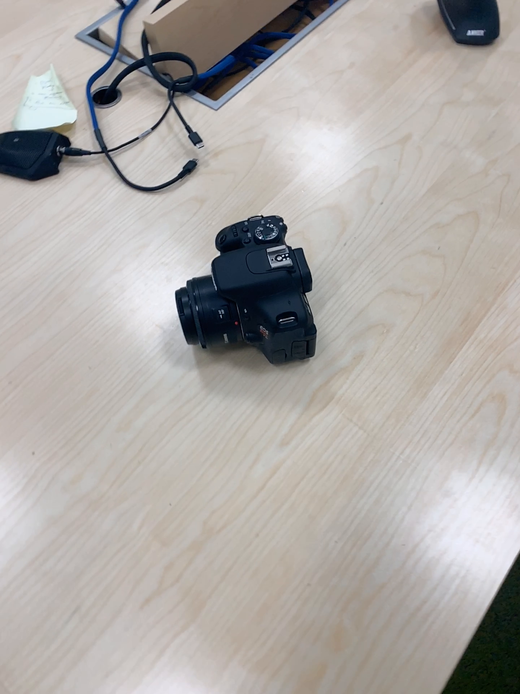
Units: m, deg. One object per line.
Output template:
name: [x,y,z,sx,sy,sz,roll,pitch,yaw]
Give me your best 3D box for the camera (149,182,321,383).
camera: [-0.022,-0.058,0.483,0.120,0.090,0.130,-13,62,-3]
